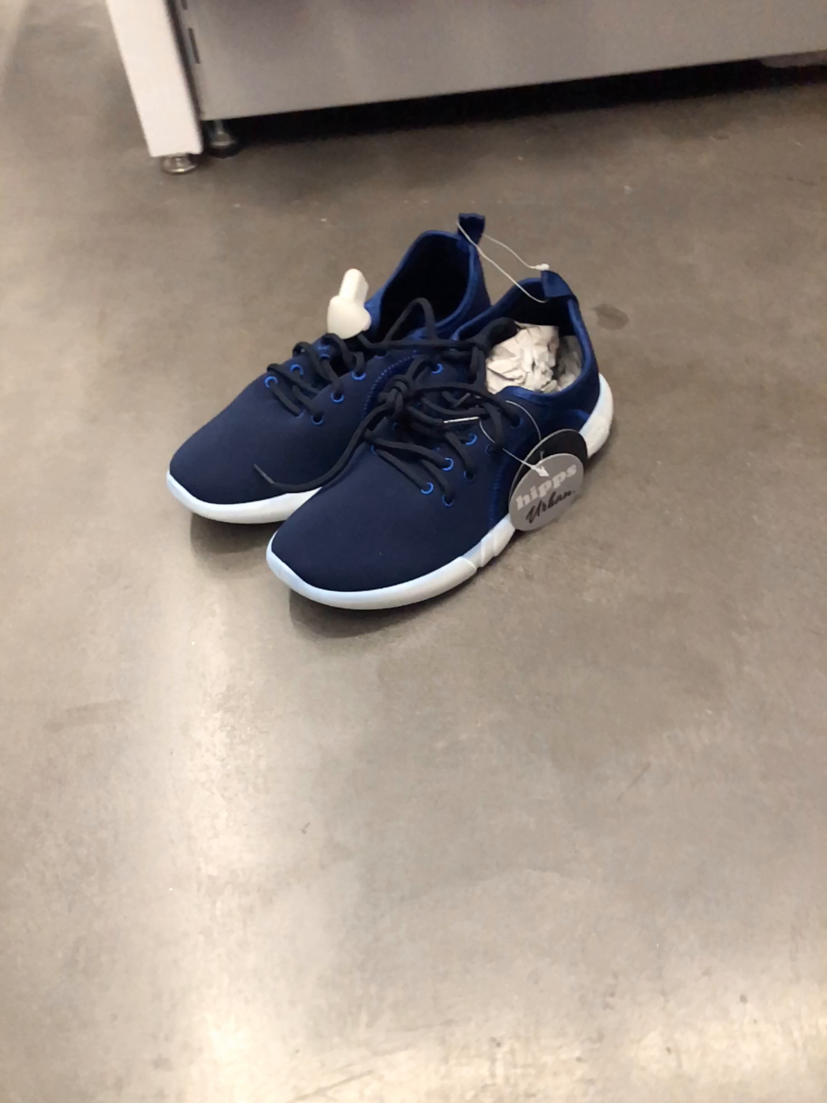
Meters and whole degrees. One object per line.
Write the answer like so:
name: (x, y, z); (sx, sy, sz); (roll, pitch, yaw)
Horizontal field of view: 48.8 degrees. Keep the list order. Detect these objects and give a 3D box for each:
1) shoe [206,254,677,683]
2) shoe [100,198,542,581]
shoe: (0.023, -0.053, 0.492); (0.241, 0.090, 0.090); (-37, 58, -23)
shoe: (-0.042, -0.103, 0.536); (0.241, 0.090, 0.090); (-37, 58, -23)
